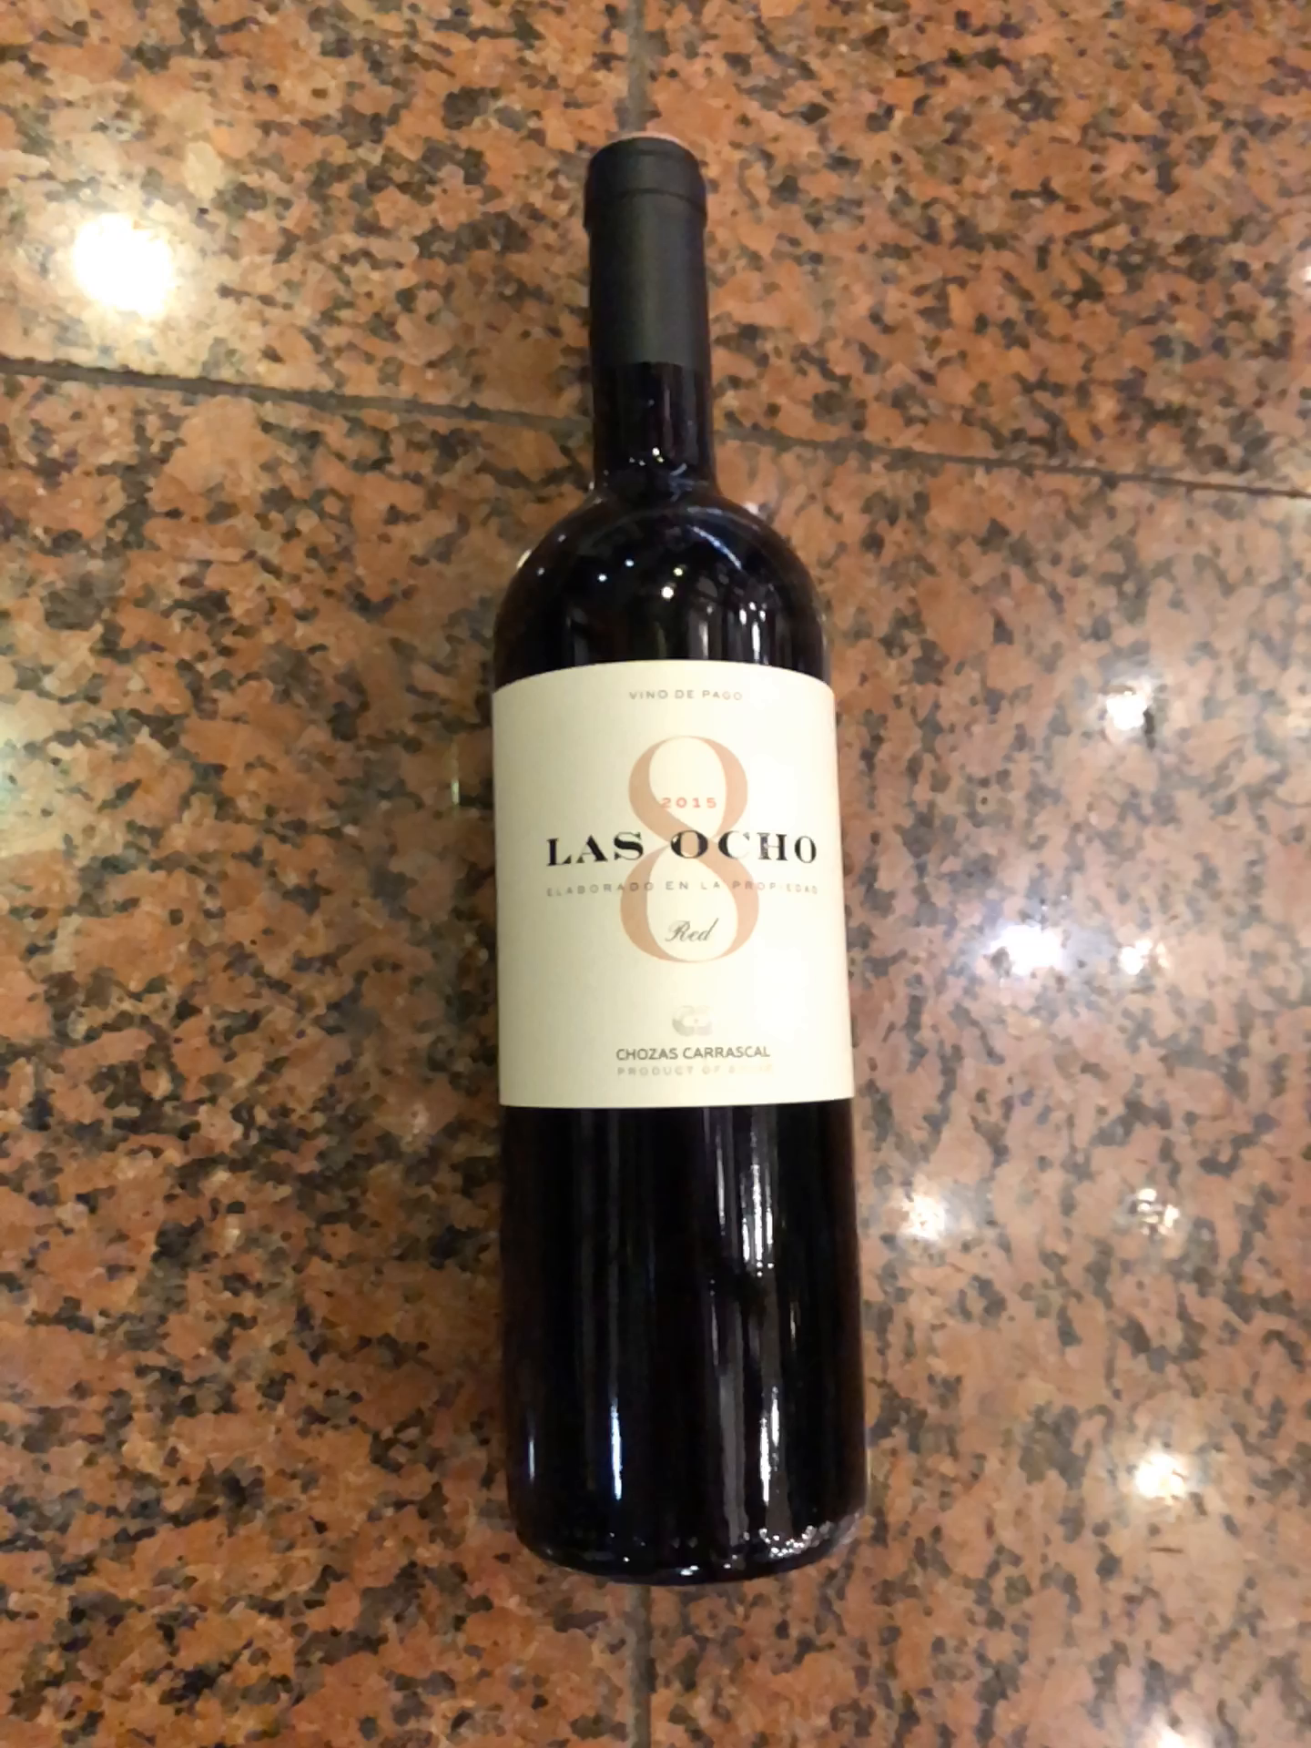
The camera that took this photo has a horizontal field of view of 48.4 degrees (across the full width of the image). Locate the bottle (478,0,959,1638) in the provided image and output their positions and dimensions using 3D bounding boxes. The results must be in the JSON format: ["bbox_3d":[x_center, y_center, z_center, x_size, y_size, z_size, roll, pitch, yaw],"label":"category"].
[{"bbox_3d":[0.007,-0.027,0.325,0.080,0.070,0.340,0,84,-14],"label":"bottle"}]
